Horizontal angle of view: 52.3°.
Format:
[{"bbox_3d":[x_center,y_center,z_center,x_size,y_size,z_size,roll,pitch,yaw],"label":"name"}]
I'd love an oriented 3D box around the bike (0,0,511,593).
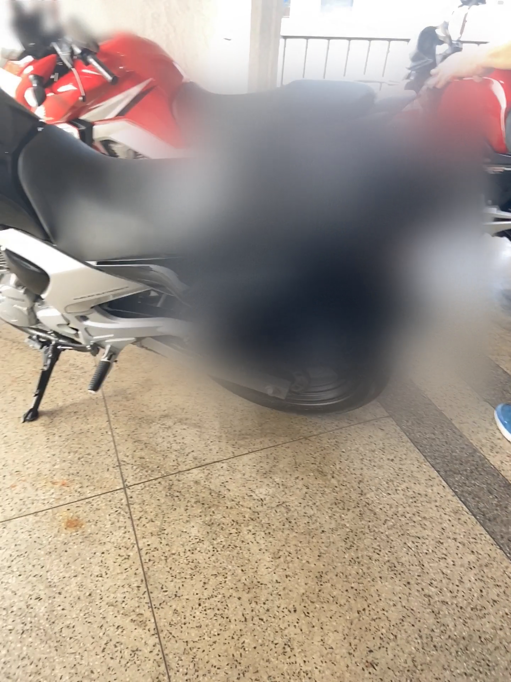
[{"bbox_3d":[-0.492,-0.237,1.434,1.877,1.511,0.848,6,35,-1],"label":"bike"}]
